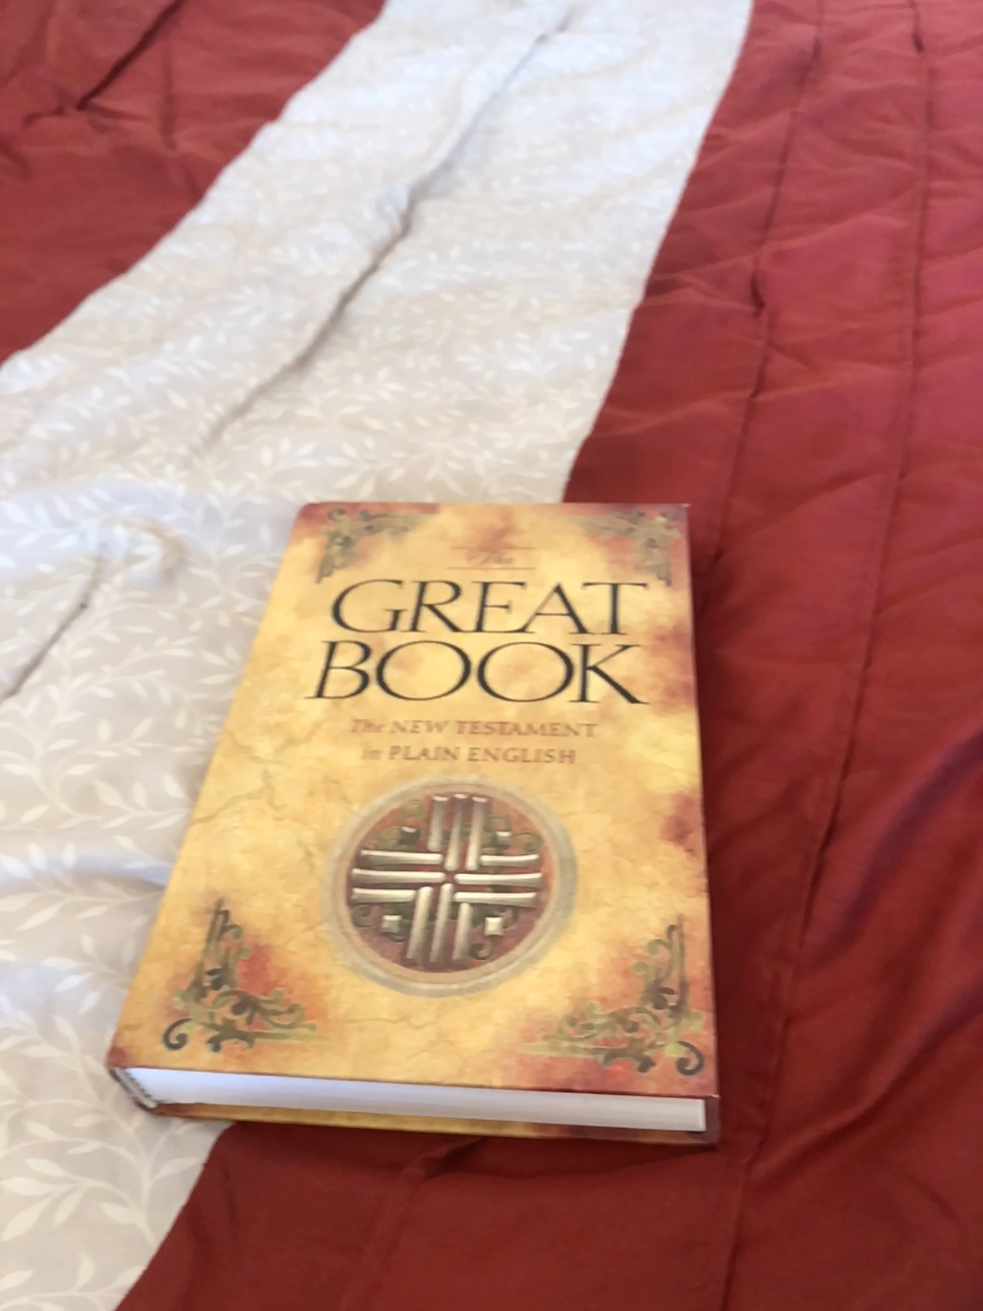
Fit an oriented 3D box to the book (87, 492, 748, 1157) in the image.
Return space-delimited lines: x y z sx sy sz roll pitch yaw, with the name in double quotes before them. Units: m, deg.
"book" -0.009 0.034 0.351 0.161 0.040 0.221 0 46 8
